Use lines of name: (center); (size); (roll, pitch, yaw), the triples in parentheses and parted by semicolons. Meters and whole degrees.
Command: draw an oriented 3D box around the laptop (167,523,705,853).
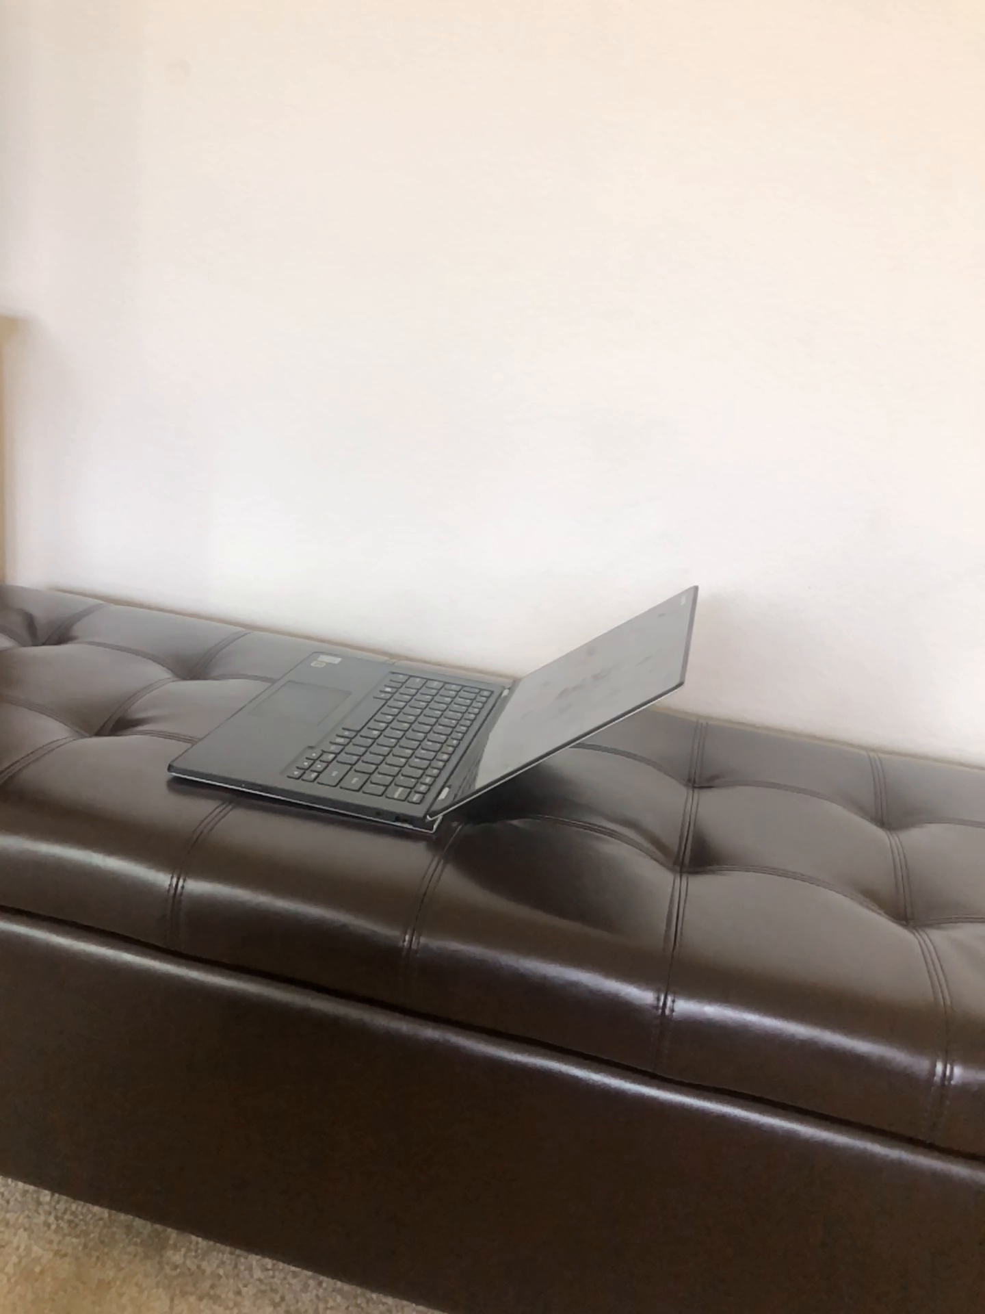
laptop: (-0.021, 0.002, 0.778); (0.317, 0.115, 0.262); (9, 18, 10)
